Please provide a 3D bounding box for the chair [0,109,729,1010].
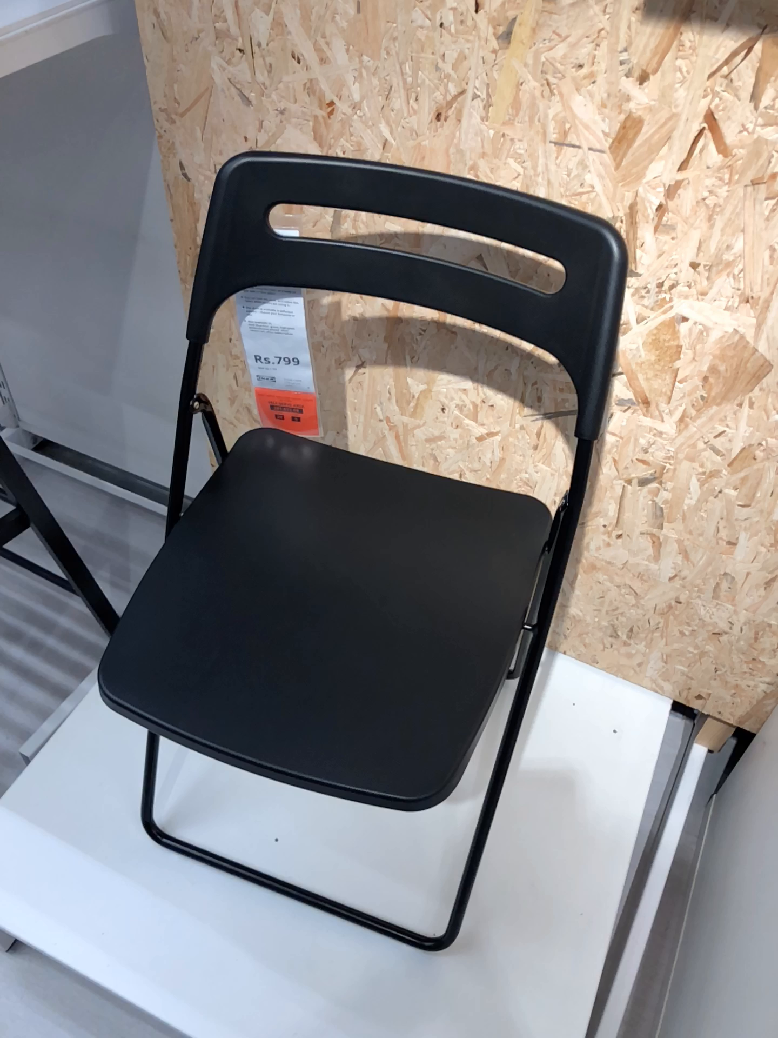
[{"bbox_3d":[-0.020,0.066,0.941,0.490,0.735,0.523,17,48,13],"label":"chair"}]
